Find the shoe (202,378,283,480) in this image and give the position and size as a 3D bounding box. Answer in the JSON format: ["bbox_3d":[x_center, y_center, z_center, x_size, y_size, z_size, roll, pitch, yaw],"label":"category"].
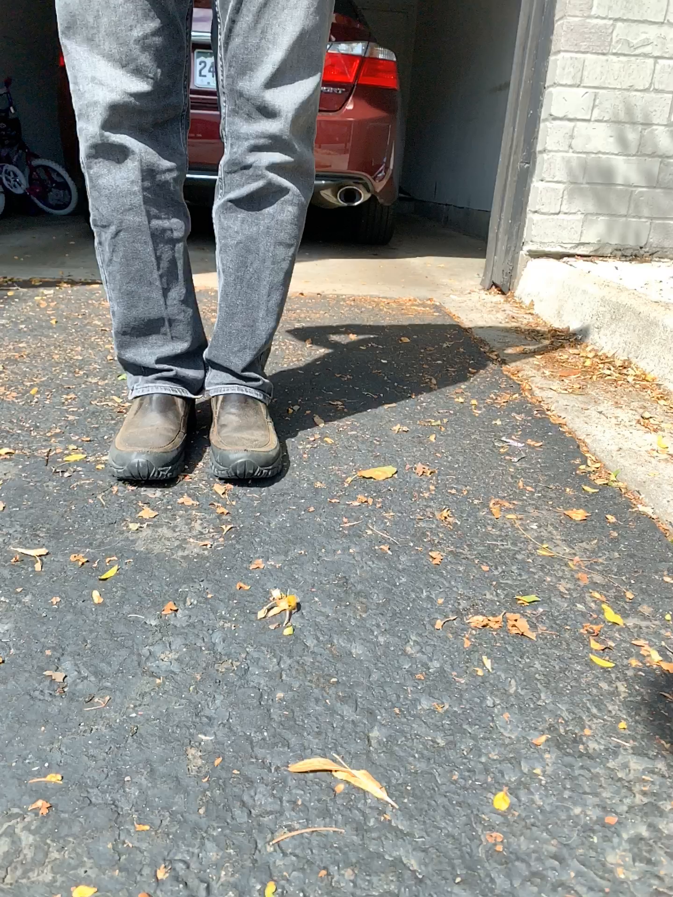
[{"bbox_3d":[-0.146,-0.040,1.093,0.110,0.070,0.291,1,20,-7],"label":"shoe"}]

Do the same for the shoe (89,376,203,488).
[{"bbox_3d":[-0.285,-0.035,1.078,0.110,0.070,0.291,3,22,-3],"label":"shoe"}]
